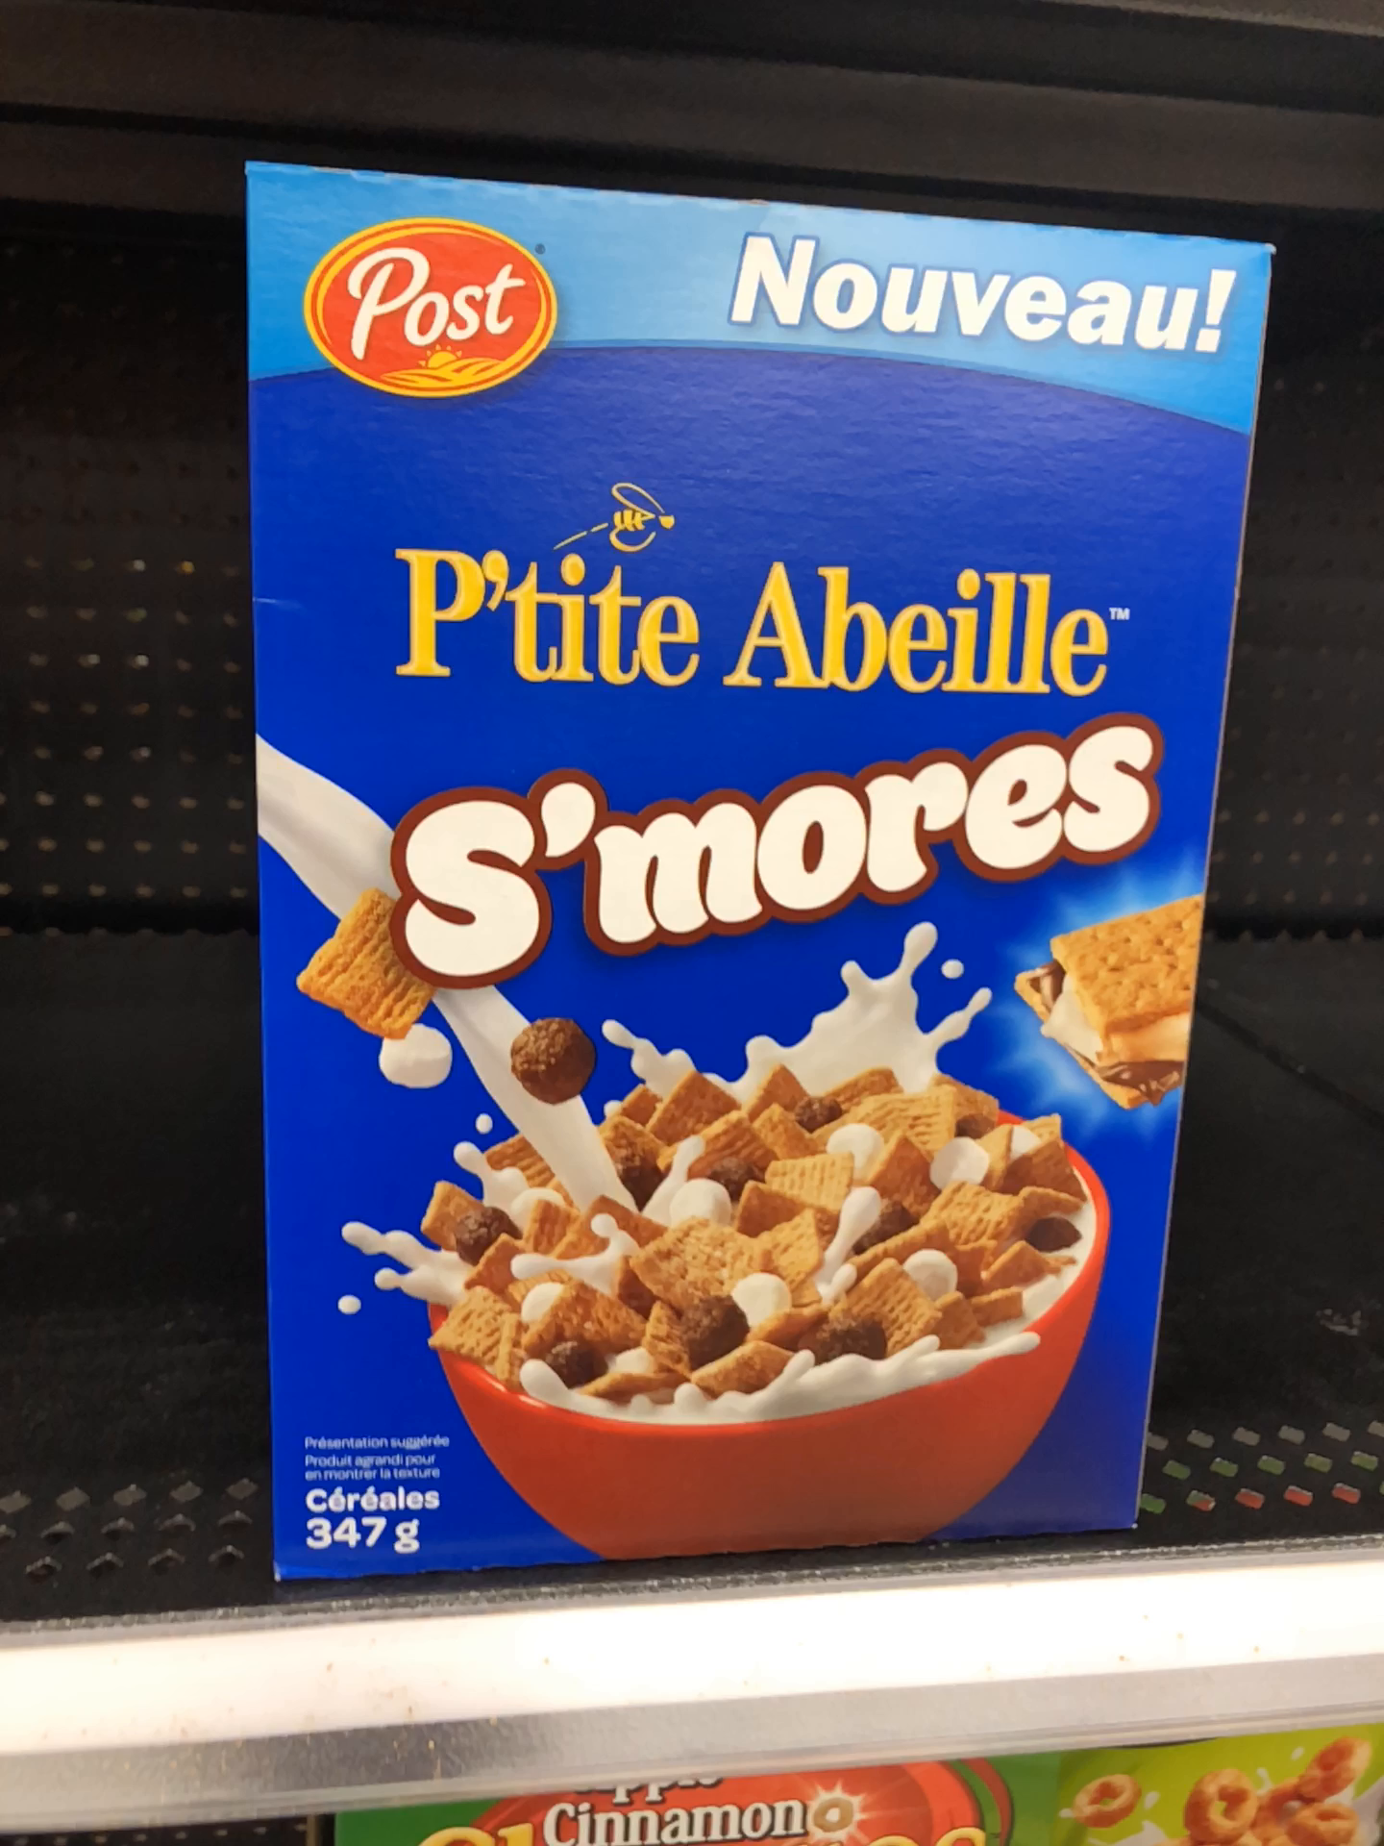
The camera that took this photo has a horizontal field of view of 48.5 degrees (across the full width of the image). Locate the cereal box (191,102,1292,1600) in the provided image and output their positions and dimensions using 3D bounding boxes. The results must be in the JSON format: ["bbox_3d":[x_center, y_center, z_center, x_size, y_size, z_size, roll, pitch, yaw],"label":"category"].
[{"bbox_3d":[0.005,-0.007,0.330,0.200,0.279,0.060,0,12,-11],"label":"cereal box"}]
